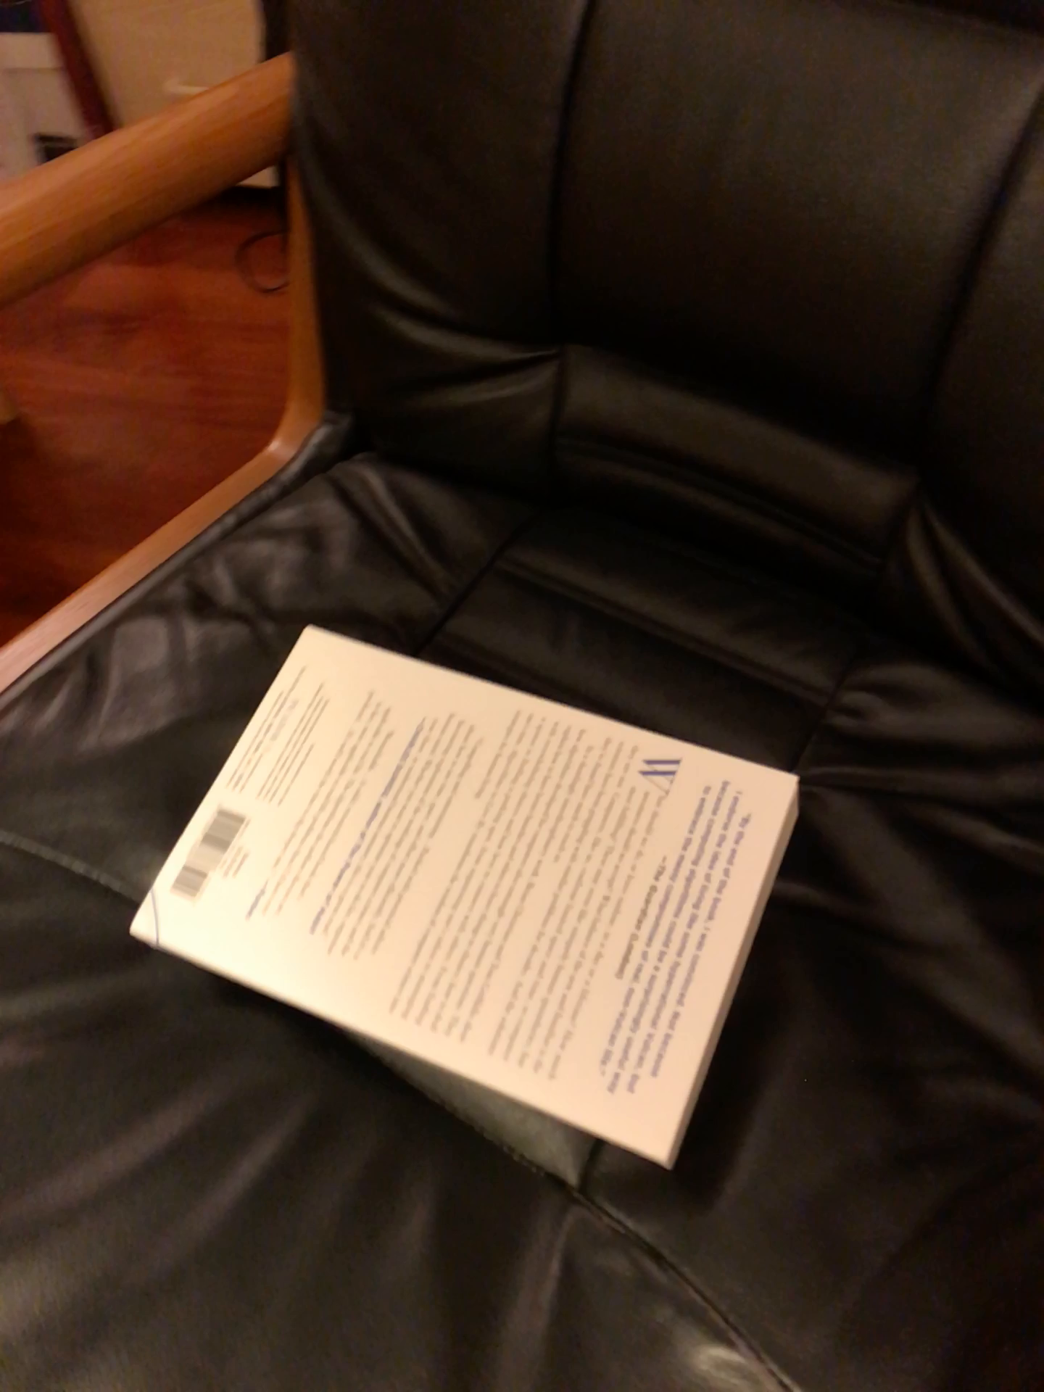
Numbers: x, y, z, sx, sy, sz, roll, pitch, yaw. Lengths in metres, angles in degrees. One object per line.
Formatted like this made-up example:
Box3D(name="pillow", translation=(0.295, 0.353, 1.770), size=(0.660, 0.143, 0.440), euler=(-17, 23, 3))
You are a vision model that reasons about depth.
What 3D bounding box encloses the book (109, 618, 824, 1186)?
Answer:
Box3D(name="book", translation=(-0.023, 0.068, 0.467), size=(0.250, 0.020, 0.161), euler=(18, 61, 19))
